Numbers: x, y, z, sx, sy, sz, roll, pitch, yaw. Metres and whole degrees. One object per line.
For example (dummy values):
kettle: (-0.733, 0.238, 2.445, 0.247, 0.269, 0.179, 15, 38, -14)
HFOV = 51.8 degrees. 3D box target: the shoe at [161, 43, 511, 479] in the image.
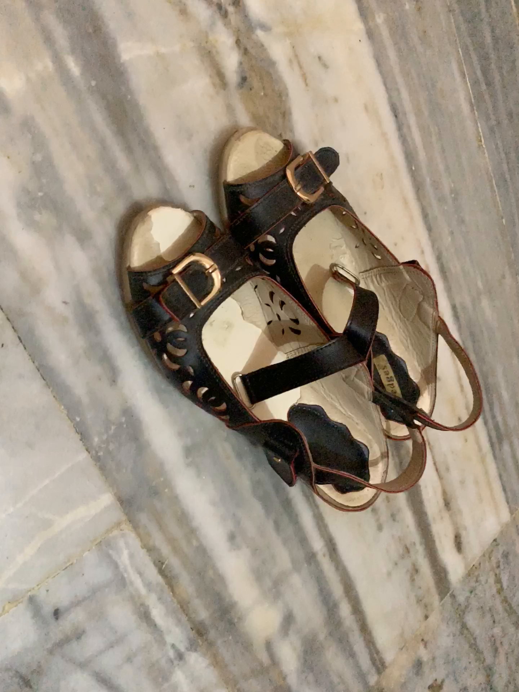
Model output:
shoe: (0.064, -0.042, 0.375, 0.100, 0.100, 0.261, -45, 116, -23)

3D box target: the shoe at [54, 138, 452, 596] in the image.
shoe: (0.008, 0.024, 0.344, 0.100, 0.100, 0.261, -45, 116, -23)
